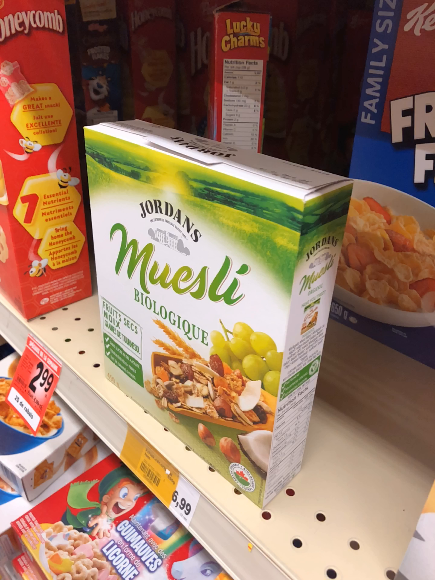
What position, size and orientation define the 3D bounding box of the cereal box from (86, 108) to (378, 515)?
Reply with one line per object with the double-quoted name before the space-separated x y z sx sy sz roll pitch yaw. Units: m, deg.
"cereal box" -0.007 0.009 0.327 0.050 0.218 0.181 -25 40 -38
